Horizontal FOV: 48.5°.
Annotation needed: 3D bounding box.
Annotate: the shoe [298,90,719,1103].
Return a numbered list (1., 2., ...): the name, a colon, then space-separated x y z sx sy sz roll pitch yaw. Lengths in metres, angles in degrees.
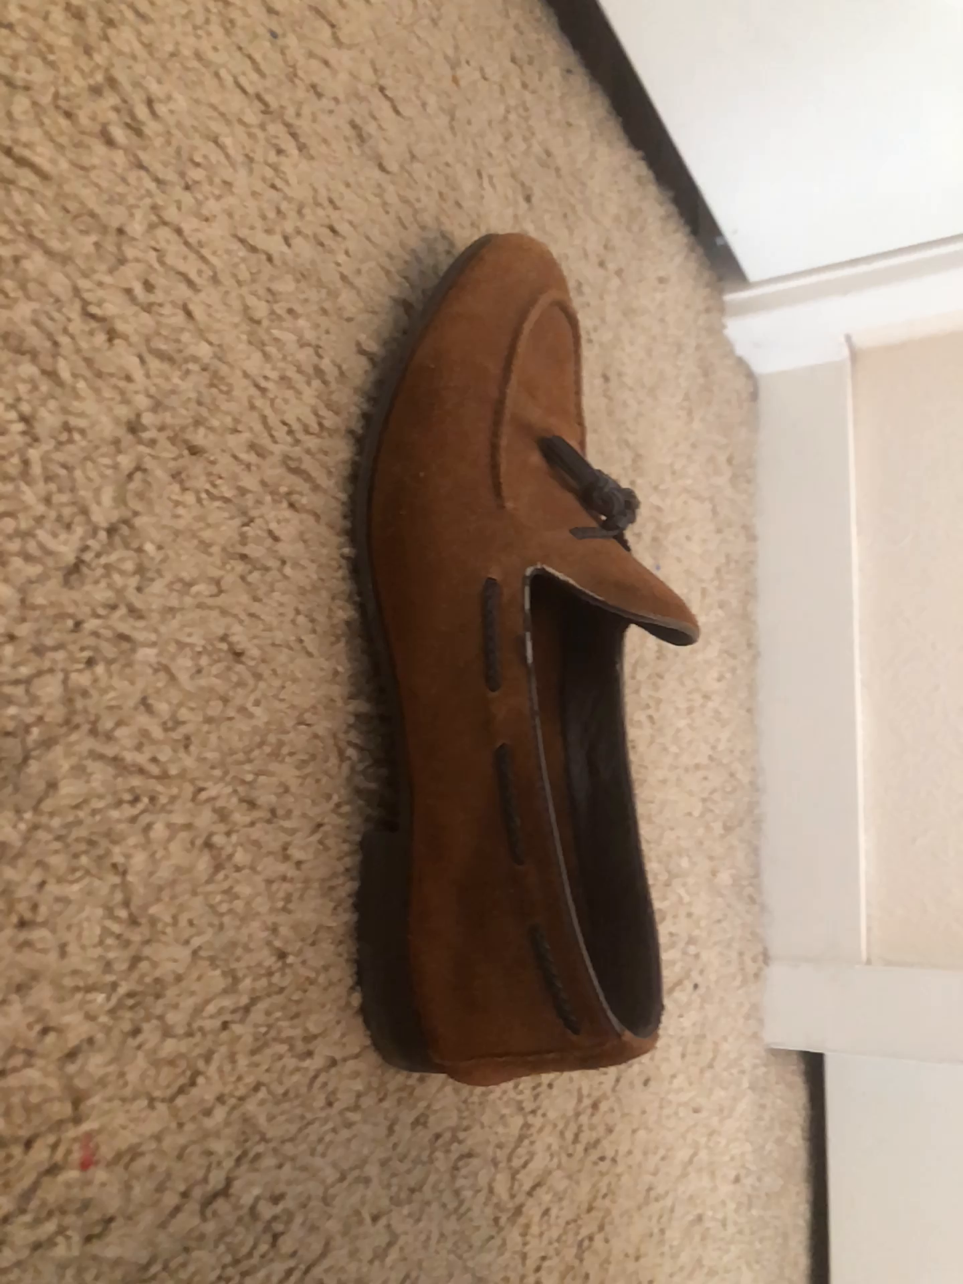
1. shoe: 0.017 -0.015 0.360 0.091 0.099 0.292 23 66 -59
